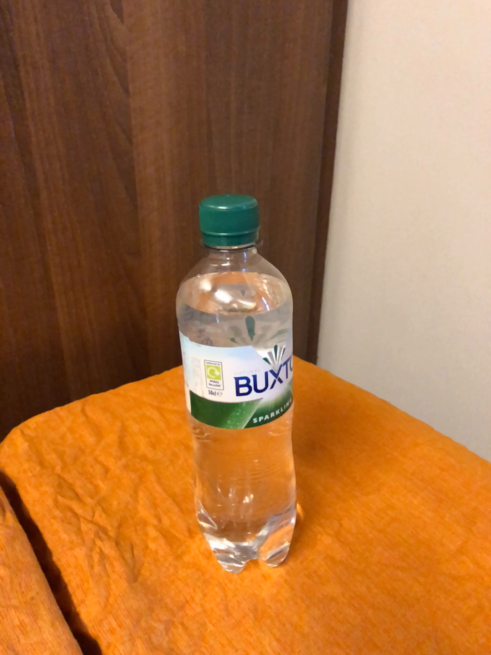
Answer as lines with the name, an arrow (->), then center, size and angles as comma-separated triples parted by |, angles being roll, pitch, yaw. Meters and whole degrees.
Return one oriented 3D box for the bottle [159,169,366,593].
bottle -> 0.005, 0.032, 0.307 | 0.070, 0.218, 0.070 | 1, 27, 0
